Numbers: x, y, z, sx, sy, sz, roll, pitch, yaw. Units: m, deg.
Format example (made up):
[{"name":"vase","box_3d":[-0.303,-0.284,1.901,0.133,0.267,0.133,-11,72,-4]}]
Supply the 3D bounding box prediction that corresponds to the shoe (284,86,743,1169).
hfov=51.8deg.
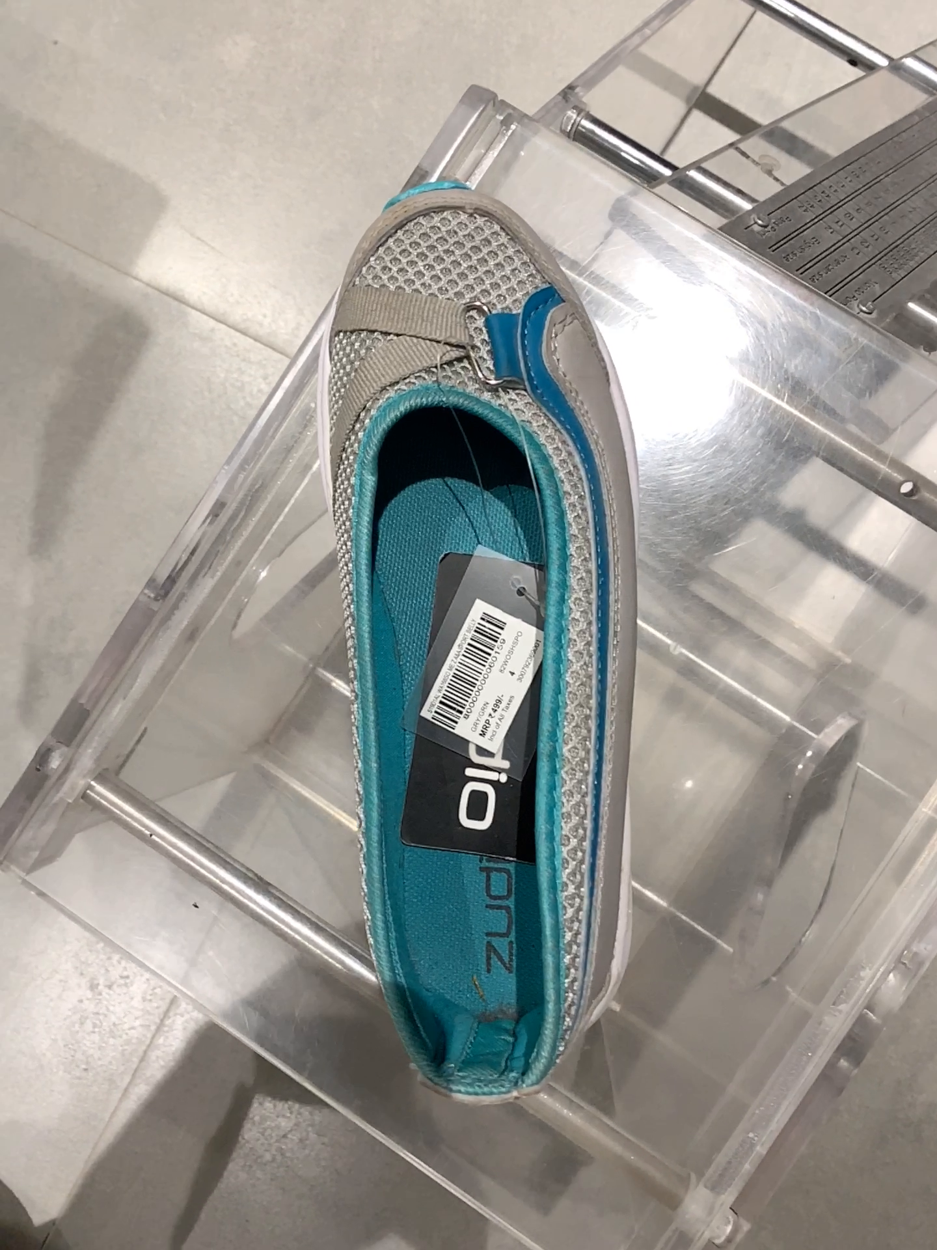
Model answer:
[{"name":"shoe","box_3d":[0.013,0.002,0.288,0.090,0.080,0.270,-6,89,3]}]
